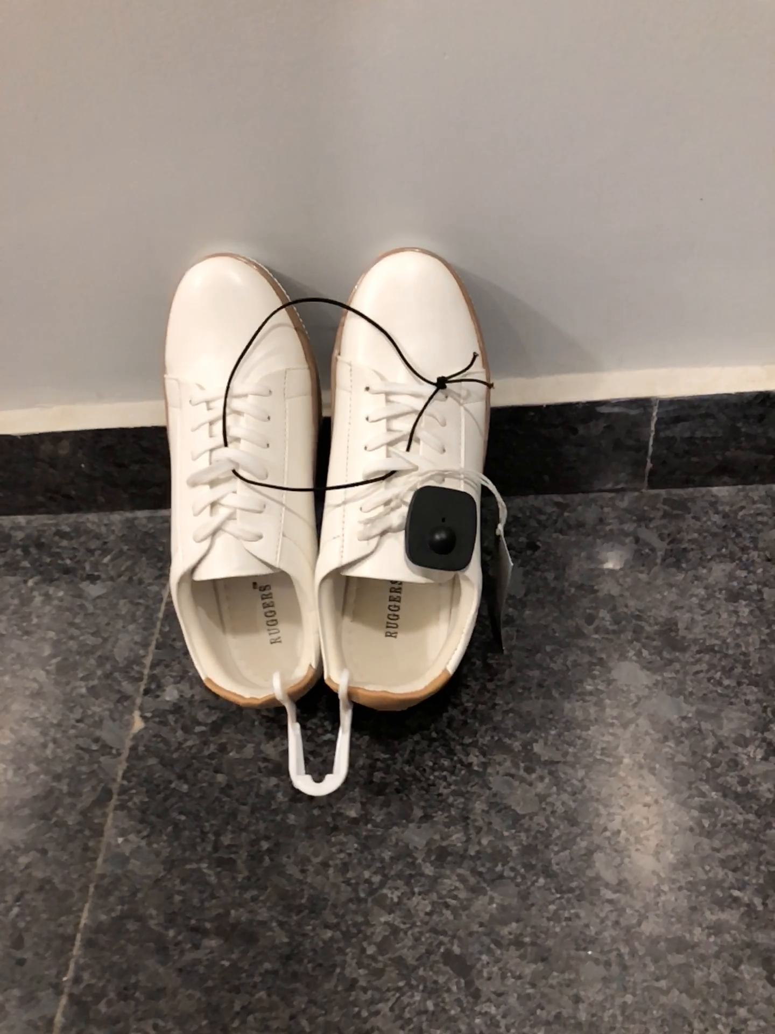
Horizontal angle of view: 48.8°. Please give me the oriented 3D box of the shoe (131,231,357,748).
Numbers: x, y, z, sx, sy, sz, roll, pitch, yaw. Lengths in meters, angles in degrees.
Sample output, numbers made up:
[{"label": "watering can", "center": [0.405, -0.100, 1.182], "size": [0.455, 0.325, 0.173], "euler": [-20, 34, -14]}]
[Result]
[{"label": "shoe", "center": [-0.080, -0.013, 0.501], "size": [0.101, 0.087, 0.272], "euler": [-2, 88, 9]}]

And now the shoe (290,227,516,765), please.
[{"label": "shoe", "center": [0.012, -0.013, 0.492], "size": [0.107, 0.104, 0.274], "euler": [2, 90, 5]}]
